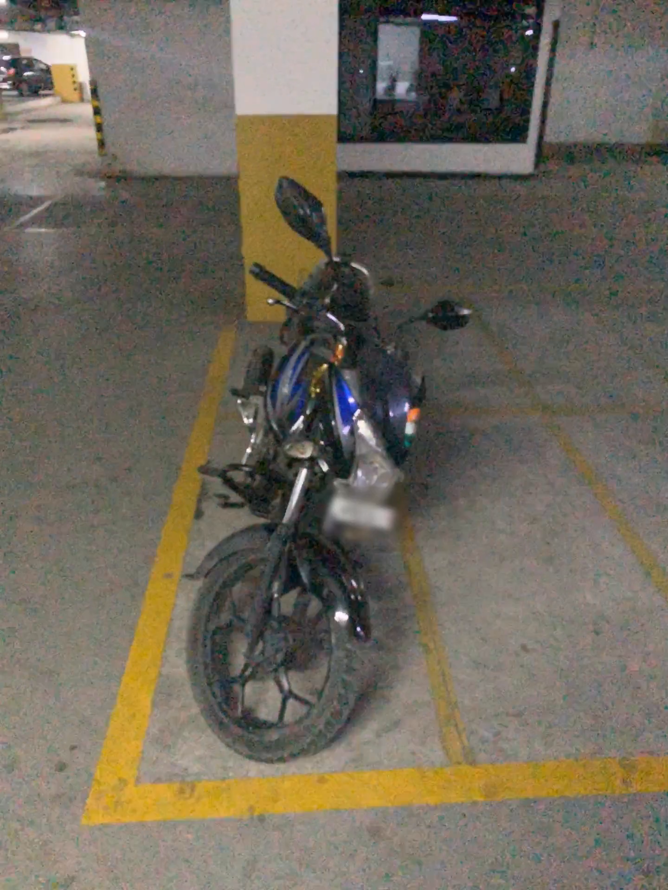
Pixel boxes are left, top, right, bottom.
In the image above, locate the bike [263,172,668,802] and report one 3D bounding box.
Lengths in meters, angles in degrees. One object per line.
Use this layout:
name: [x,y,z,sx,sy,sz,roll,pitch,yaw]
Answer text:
bike: [0.240,-0.169,2.407,0.850,1.205,2.223,-3,29,-6]
